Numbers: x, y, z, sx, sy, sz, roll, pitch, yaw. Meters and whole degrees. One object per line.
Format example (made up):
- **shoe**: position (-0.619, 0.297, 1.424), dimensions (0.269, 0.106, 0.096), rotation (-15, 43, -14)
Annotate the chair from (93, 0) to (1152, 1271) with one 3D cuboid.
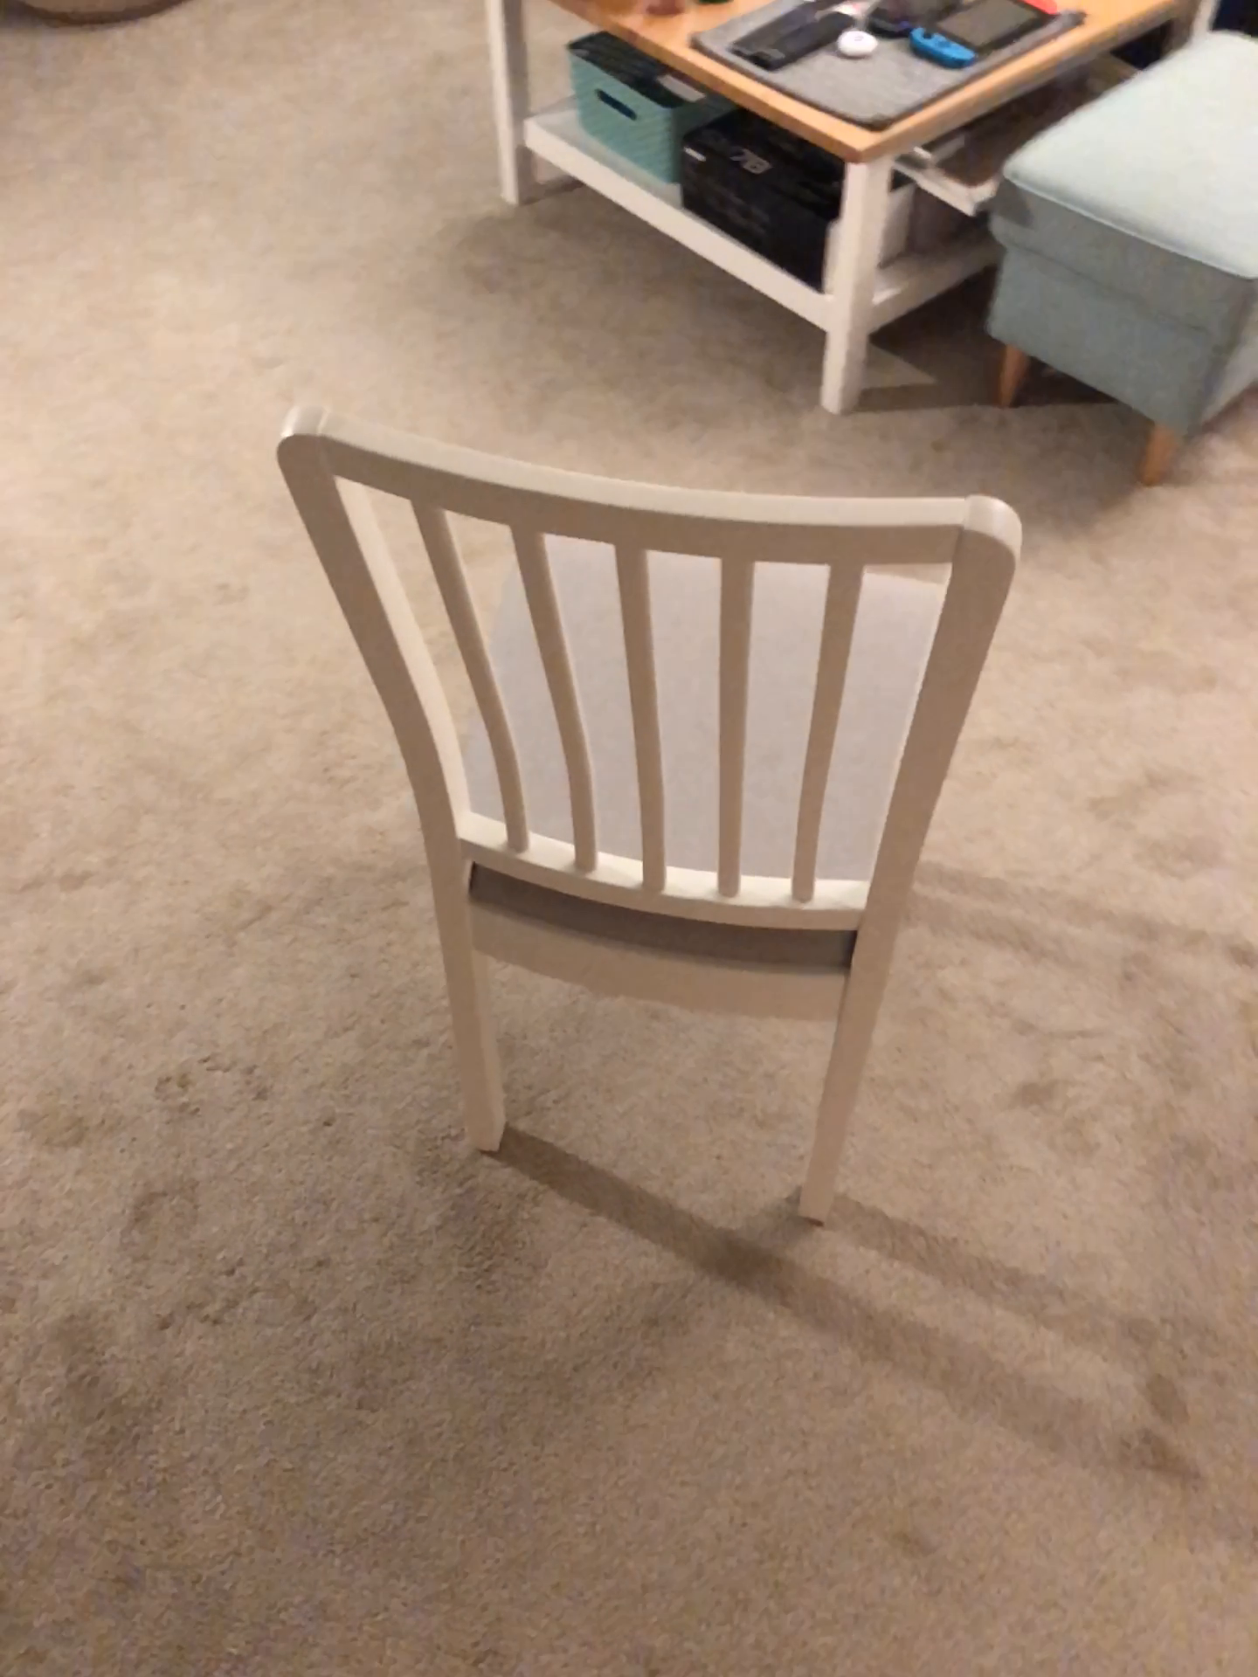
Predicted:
- **chair**: position (0.048, -0.114, 1.176), dimensions (0.500, 0.906, 0.553), rotation (12, 54, 9)
